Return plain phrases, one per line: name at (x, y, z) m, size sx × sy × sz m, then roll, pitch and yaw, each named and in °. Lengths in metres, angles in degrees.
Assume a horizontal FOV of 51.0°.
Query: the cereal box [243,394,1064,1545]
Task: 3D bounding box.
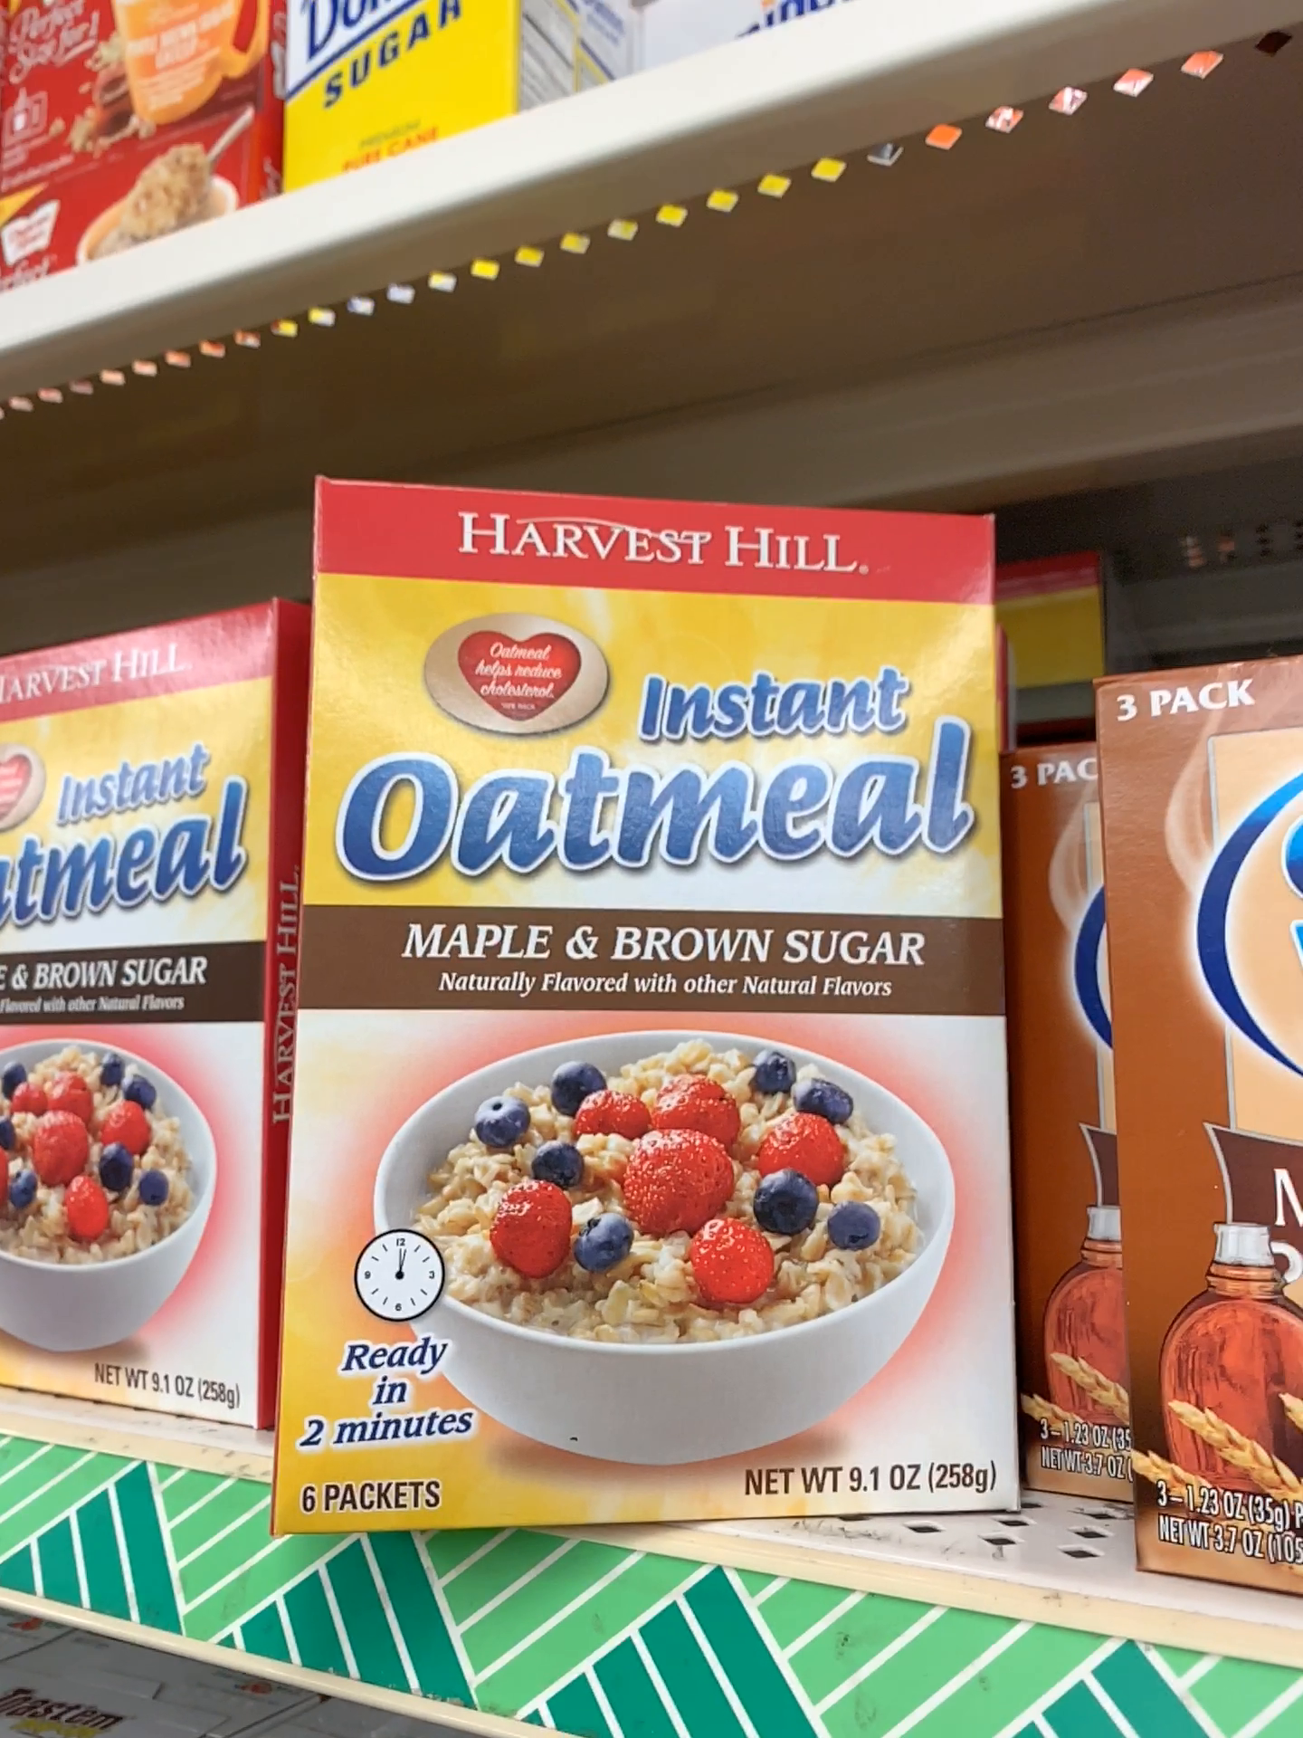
cereal box at (0.000, 0.016, 0.250) m, size 0.130 × 0.180 × 0.050 m, roll 2°, pitch -9°, yaw -11°
